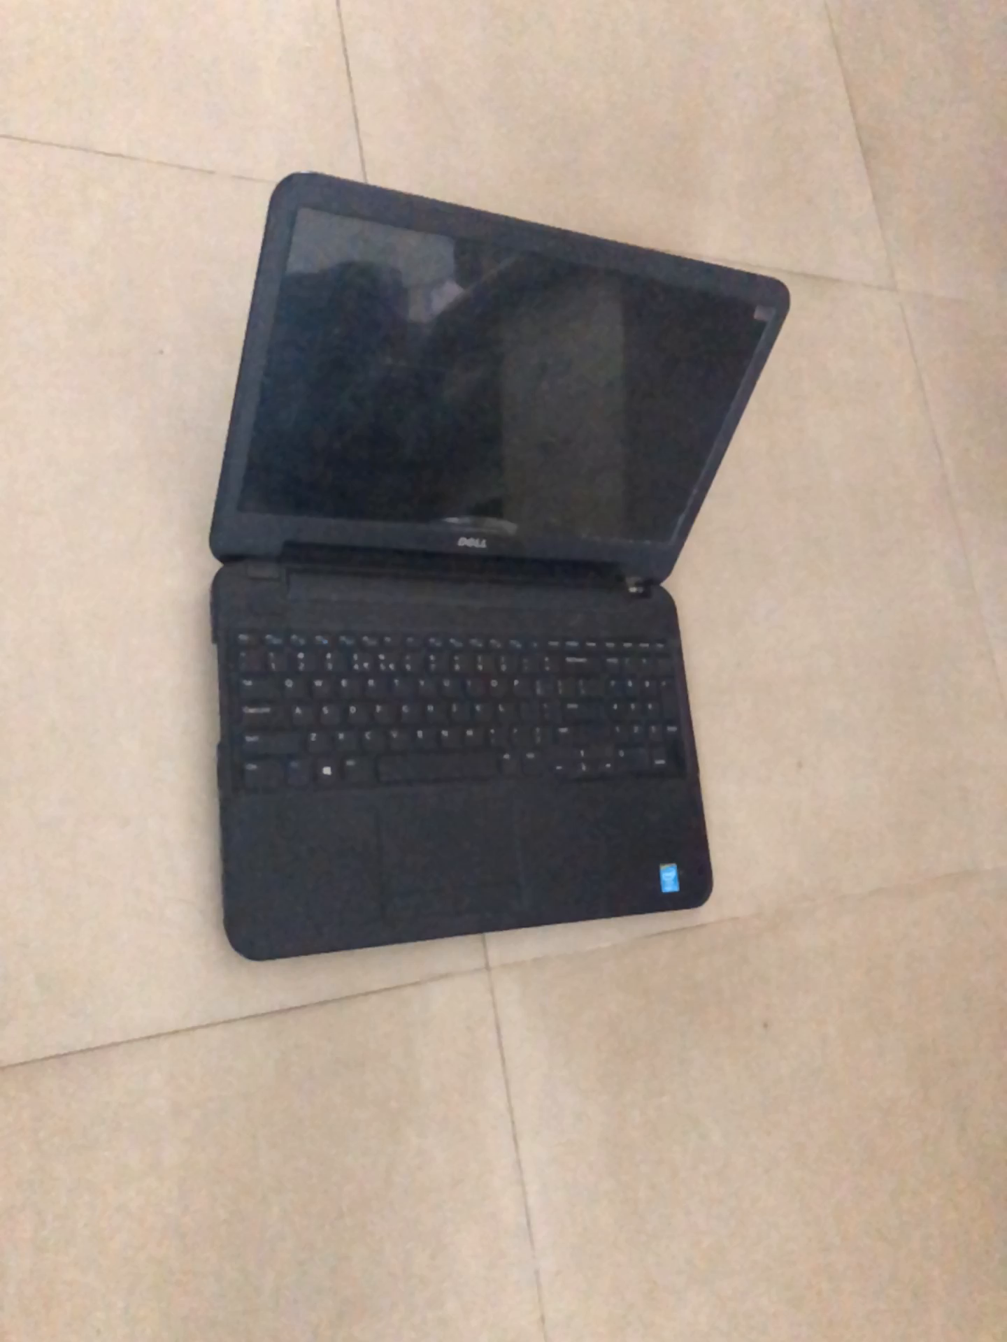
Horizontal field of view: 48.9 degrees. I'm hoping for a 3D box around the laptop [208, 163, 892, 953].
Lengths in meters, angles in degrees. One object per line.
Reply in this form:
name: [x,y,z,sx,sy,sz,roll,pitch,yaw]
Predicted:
laptop: [0.017,-0.052,0.703,0.344,0.179,0.405,0,76,-28]
